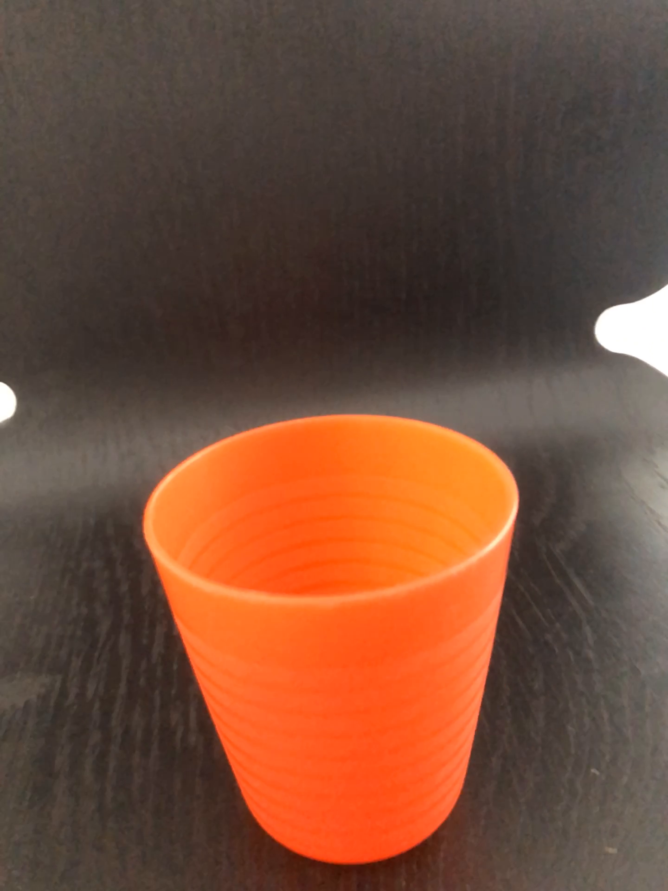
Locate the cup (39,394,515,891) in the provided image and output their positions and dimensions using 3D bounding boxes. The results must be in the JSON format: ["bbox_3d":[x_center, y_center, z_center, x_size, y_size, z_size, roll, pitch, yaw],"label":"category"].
[{"bbox_3d":[-0.003,0.043,0.176,0.080,0.080,0.080,-2,29,1],"label":"cup"}]
